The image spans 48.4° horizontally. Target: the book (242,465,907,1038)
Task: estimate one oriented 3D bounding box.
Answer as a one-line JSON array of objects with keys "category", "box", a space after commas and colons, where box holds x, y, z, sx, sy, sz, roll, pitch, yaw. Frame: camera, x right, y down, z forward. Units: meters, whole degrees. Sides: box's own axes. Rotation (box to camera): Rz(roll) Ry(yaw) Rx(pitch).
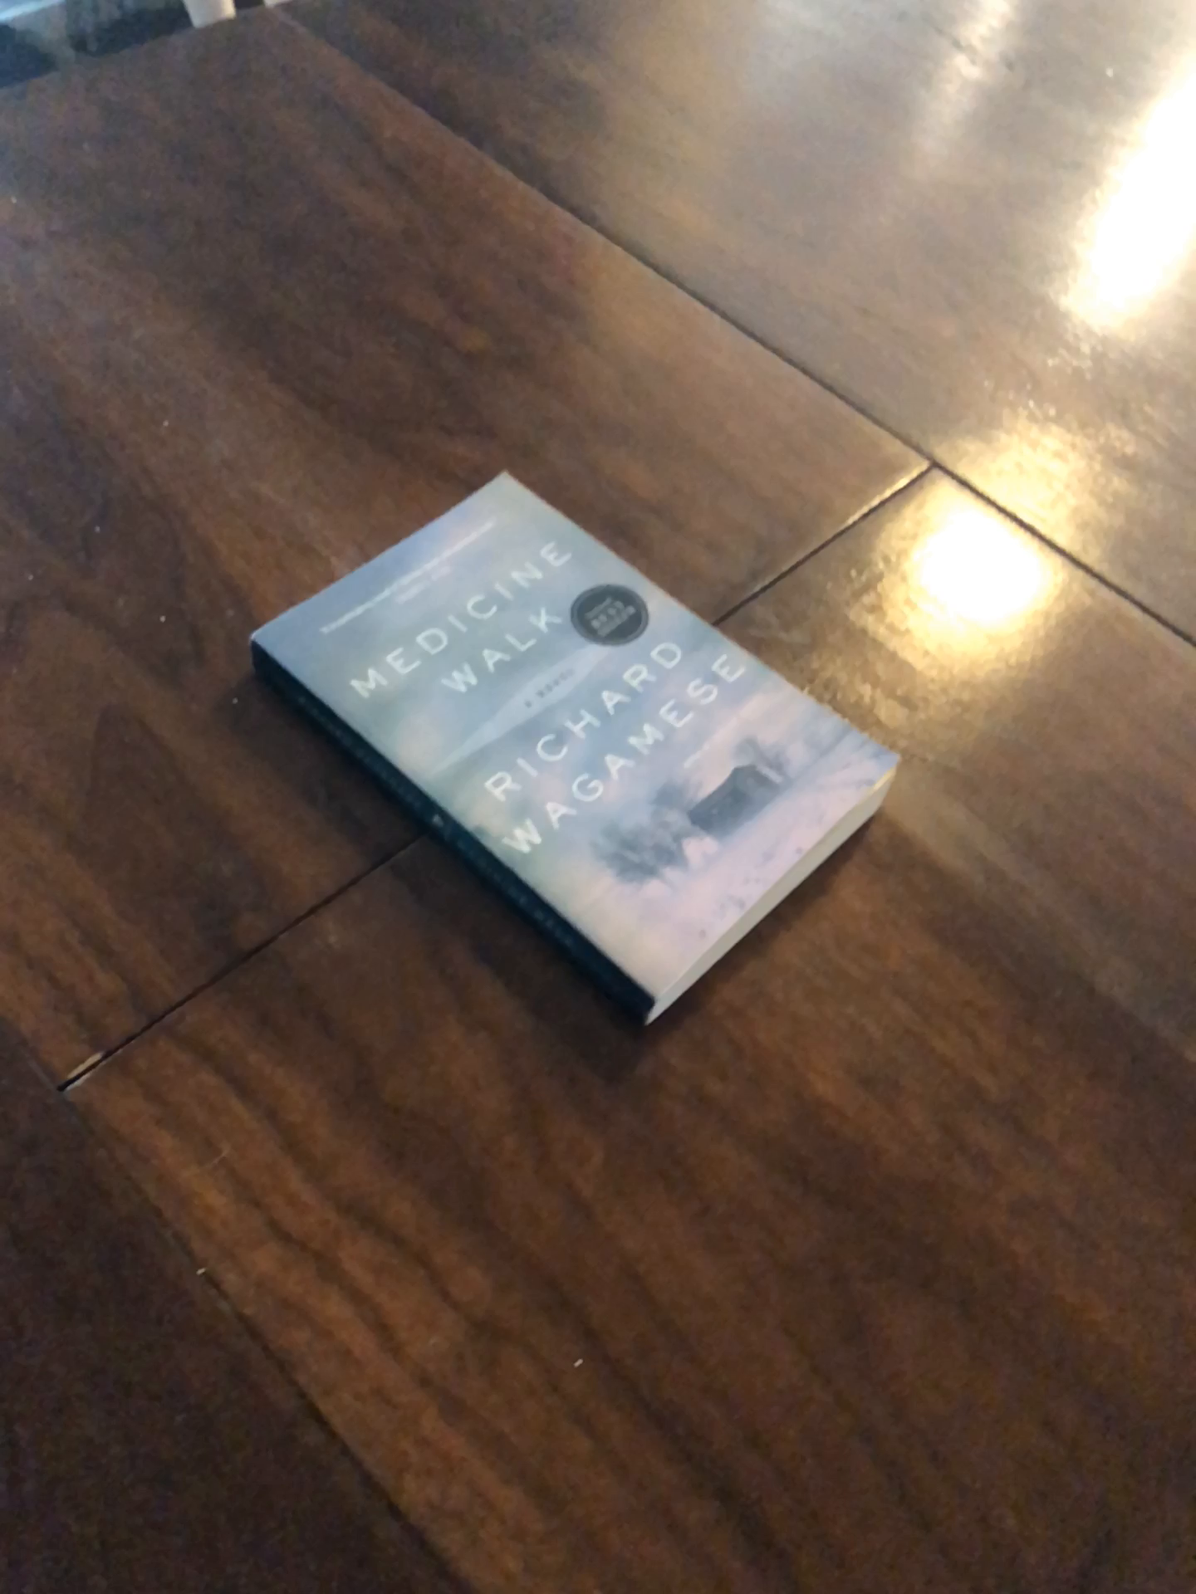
[{"category": "book", "box": [-0.010, -0.029, 0.496, 0.206, 0.026, 0.138, 41, 60, 19]}]
